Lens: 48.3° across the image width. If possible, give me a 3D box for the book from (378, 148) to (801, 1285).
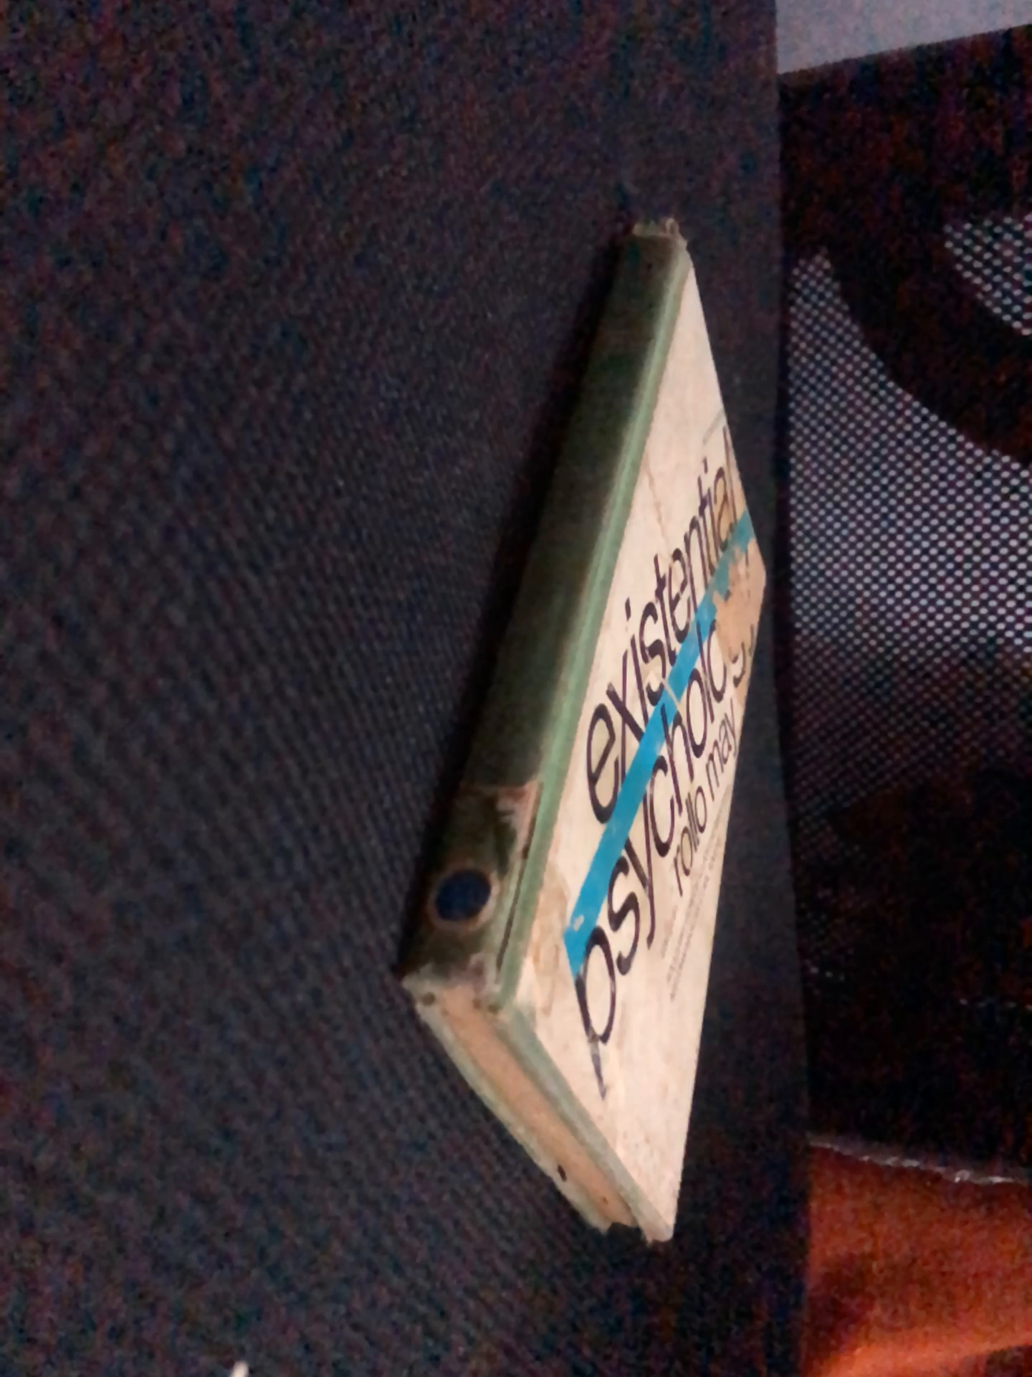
[{"bbox_3d":[0.034,0.000,0.241,0.126,0.020,0.200,66,33,-47],"label":"book"}]
